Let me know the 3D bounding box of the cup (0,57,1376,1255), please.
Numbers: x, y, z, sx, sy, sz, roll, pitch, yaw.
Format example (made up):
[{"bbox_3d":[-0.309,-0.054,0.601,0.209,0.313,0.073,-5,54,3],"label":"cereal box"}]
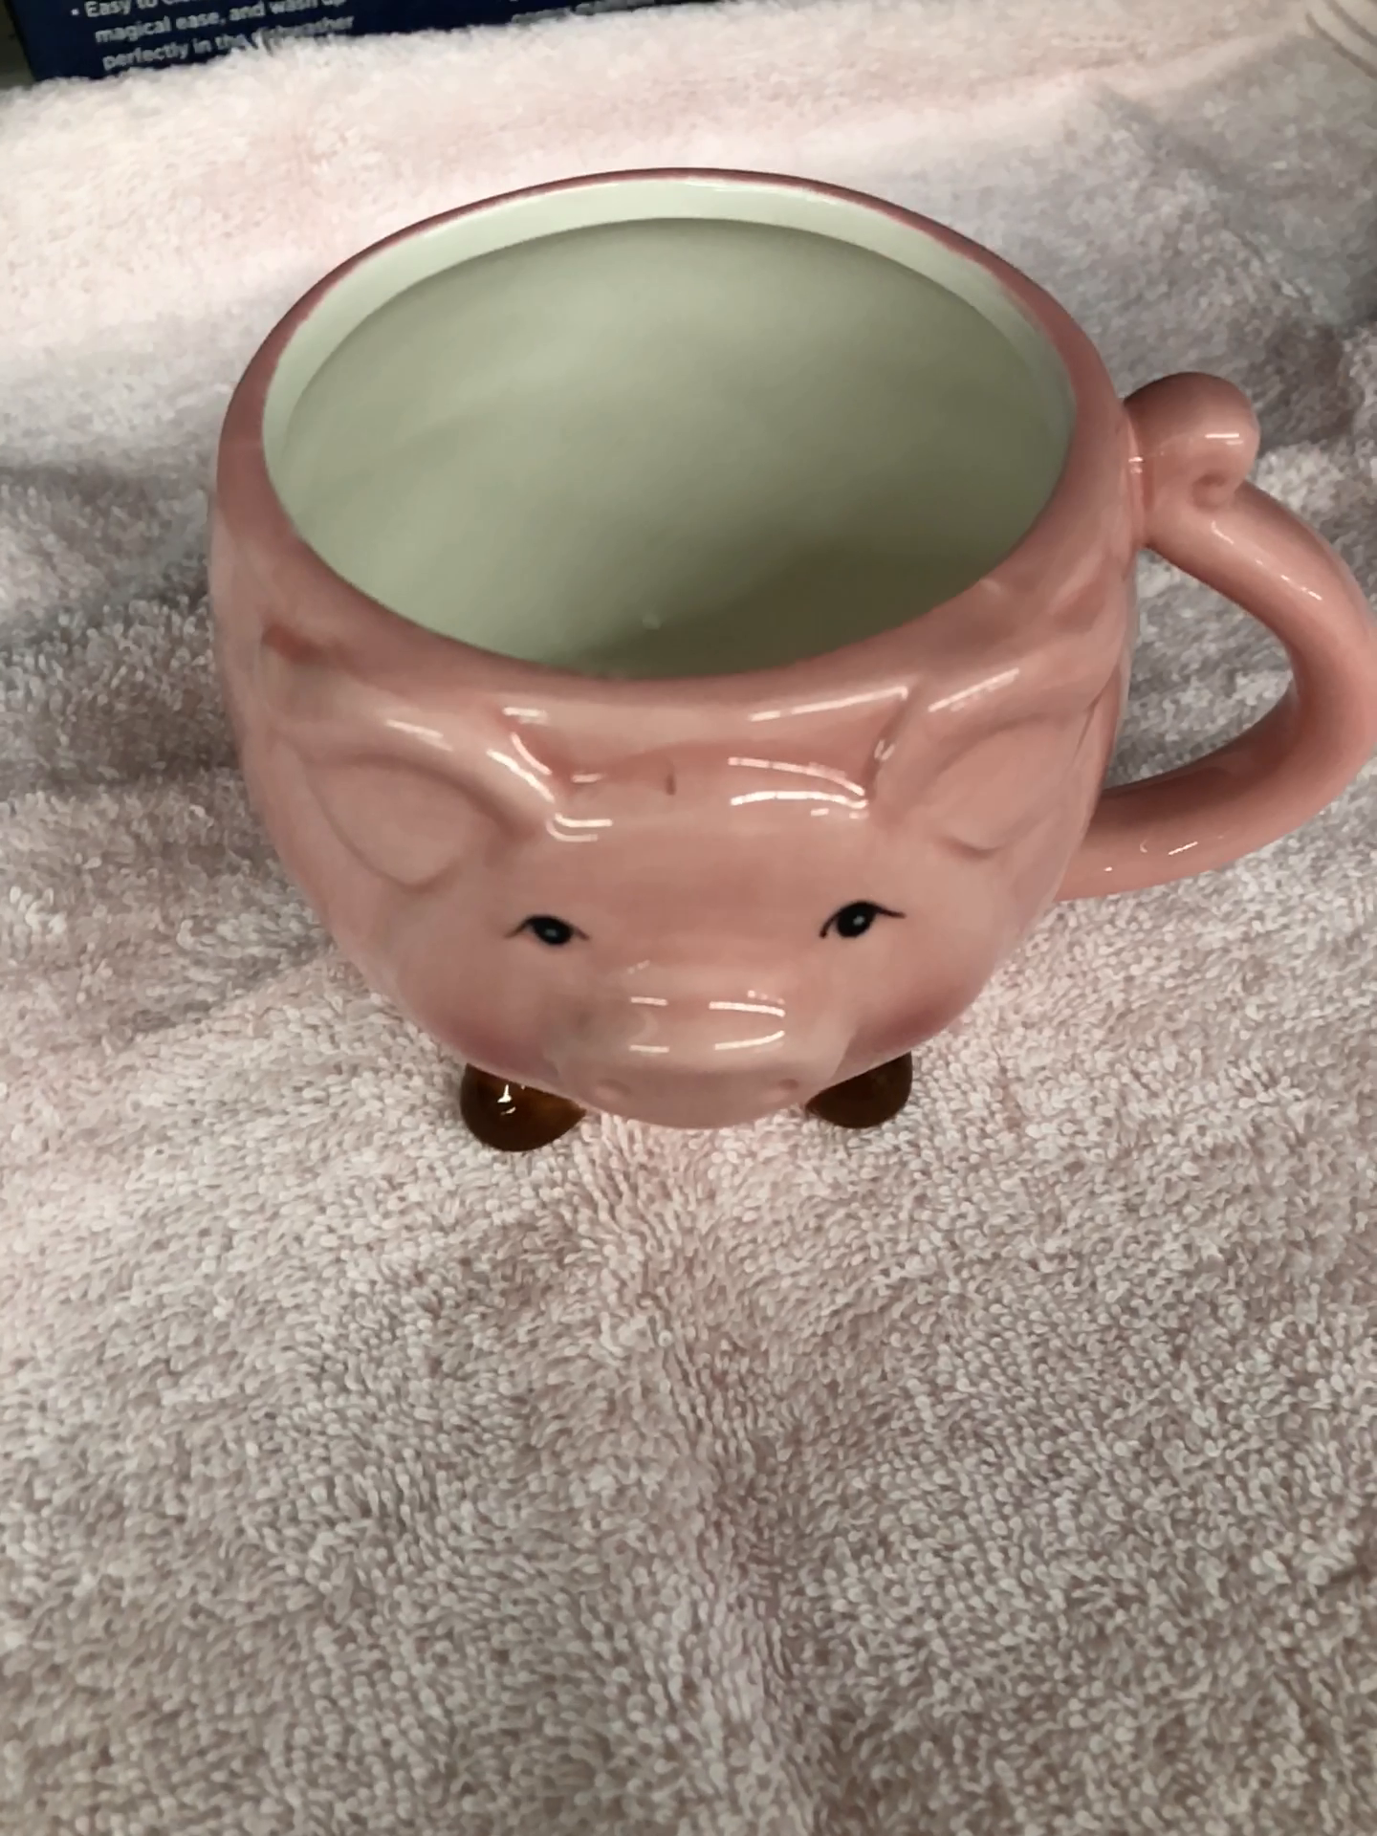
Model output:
[{"bbox_3d":[0.023,-0.027,0.177,0.150,0.090,0.100,1,56,1],"label":"cup"}]
